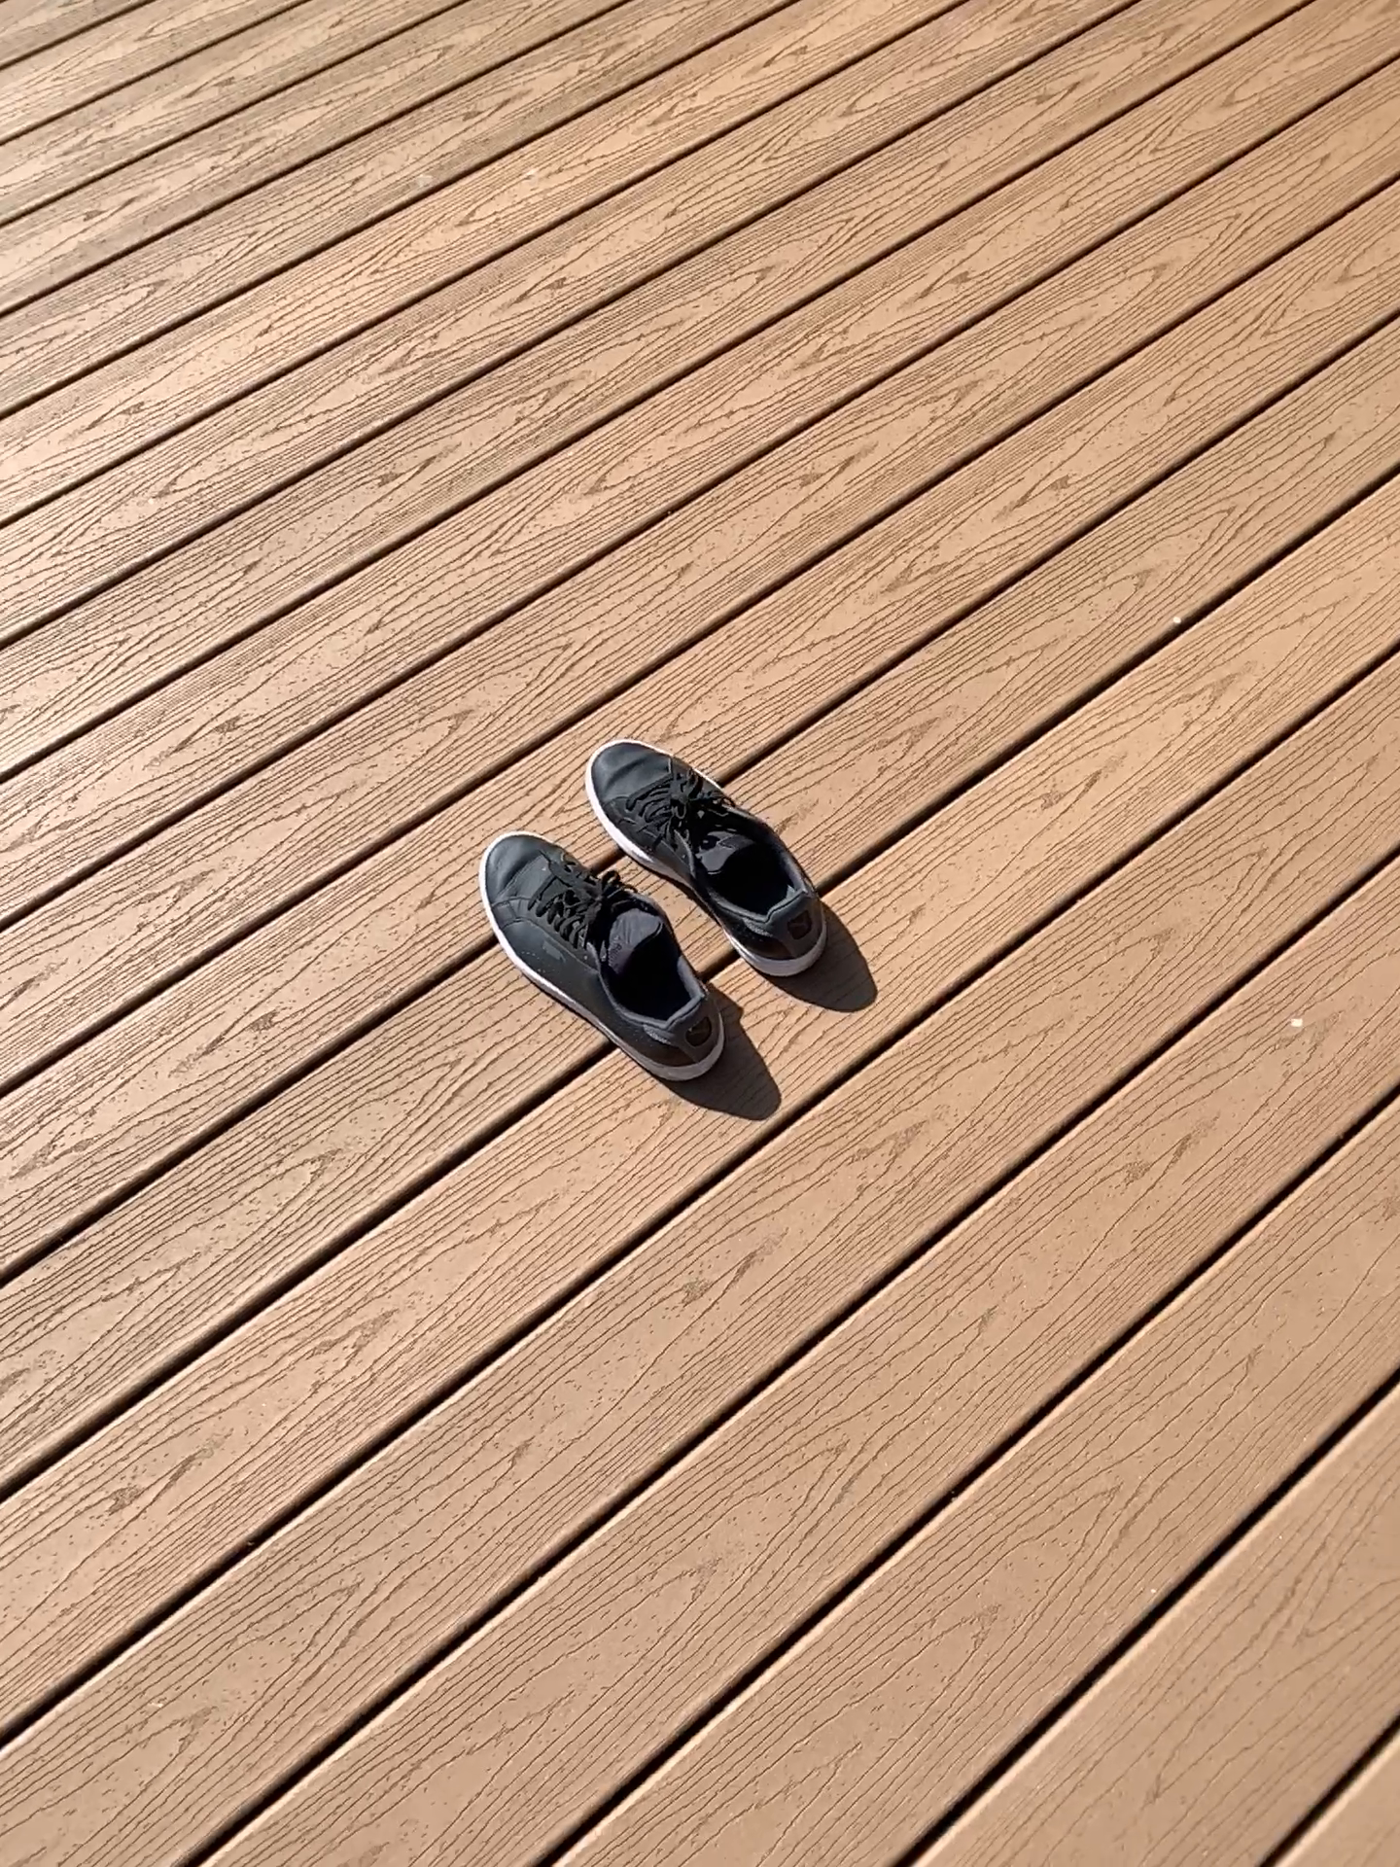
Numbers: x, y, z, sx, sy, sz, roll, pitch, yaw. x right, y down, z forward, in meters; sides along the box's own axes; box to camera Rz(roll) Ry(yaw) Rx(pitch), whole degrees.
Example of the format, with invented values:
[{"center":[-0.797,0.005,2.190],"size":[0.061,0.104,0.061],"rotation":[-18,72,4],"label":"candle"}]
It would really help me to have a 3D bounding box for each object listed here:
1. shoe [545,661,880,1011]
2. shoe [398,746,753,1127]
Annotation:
[{"center":[0.008,-0.084,1.194],"size":[0.110,0.104,0.281],"rotation":[-40,68,-16],"label":"shoe"},{"center":[-0.101,-0.001,1.164],"size":[0.112,0.107,0.301],"rotation":[-40,68,-16],"label":"shoe"}]
